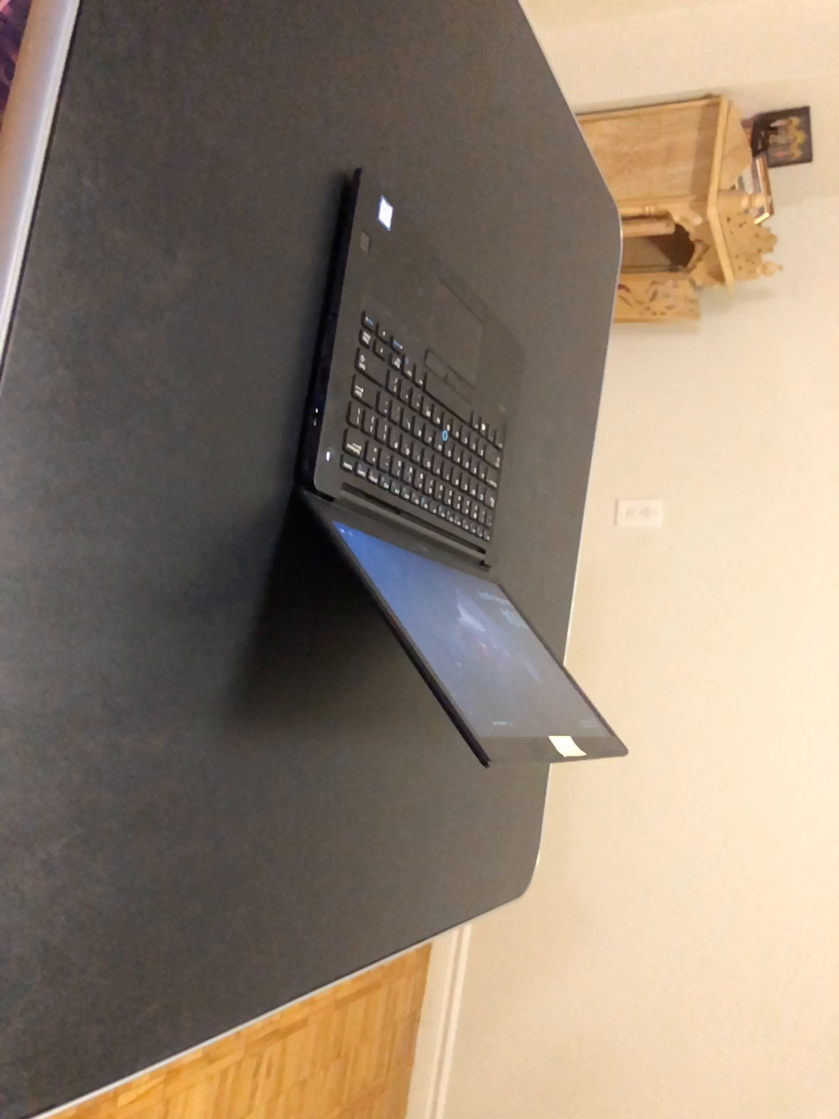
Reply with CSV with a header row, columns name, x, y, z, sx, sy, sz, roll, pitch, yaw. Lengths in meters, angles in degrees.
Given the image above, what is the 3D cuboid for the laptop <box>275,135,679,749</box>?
name,x,y,z,sx,sy,sz,roll,pitch,yaw
laptop,0.073,-0.053,0.707,0.321,0.140,0.367,22,77,-63
